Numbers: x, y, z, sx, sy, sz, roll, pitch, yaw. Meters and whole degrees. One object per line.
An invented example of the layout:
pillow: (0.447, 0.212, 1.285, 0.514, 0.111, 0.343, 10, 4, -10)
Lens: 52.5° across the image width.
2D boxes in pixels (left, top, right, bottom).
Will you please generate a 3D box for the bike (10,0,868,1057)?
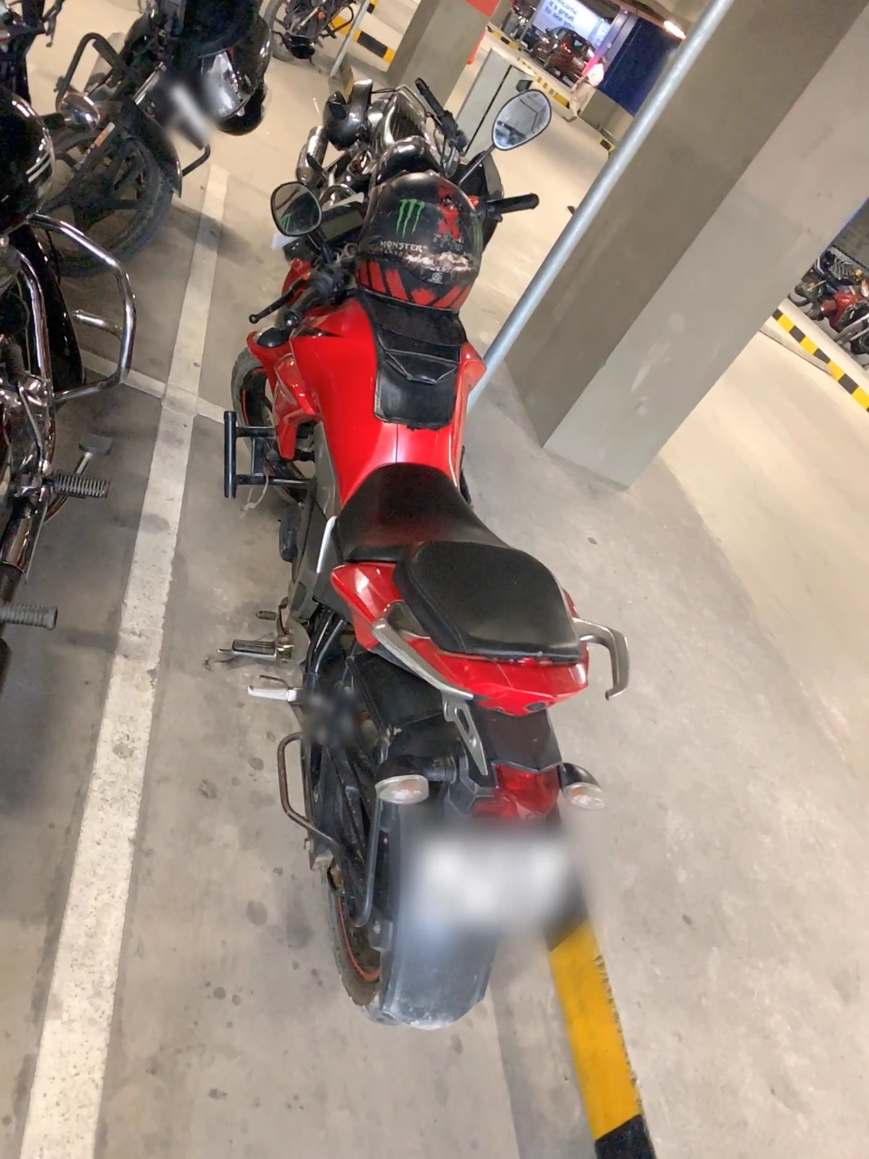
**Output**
bike: (-0.265, -0.239, 1.670, 0.678, 1.121, 1.687, 11, 40, -36)
